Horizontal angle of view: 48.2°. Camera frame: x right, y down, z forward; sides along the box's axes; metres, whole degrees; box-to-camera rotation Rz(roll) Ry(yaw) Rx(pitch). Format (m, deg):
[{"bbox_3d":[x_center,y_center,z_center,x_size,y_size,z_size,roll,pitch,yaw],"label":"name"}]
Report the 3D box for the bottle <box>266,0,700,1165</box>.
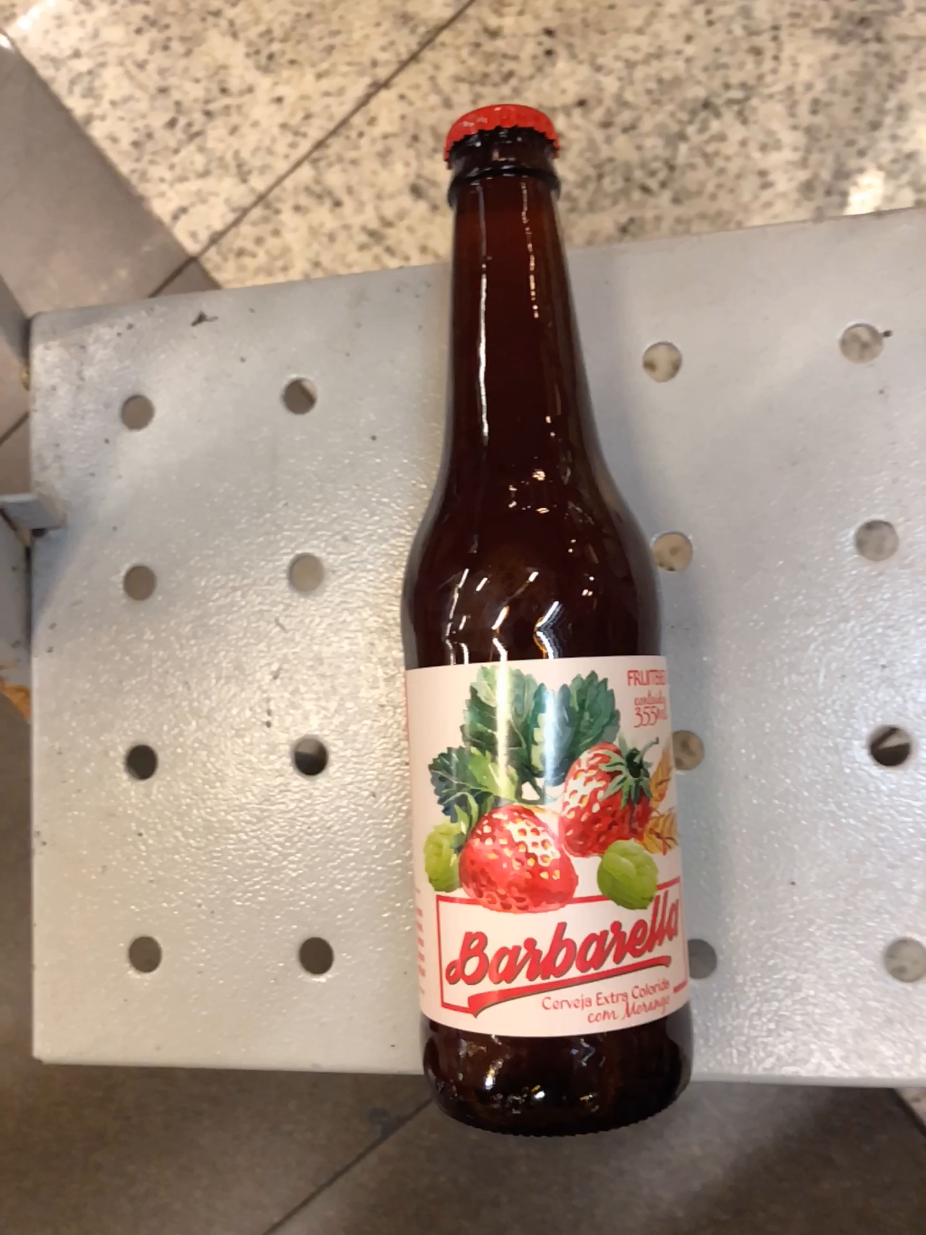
[{"bbox_3d":[0.006,-0.013,0.238,0.070,0.060,0.240,-5,84,10],"label":"bottle"}]
